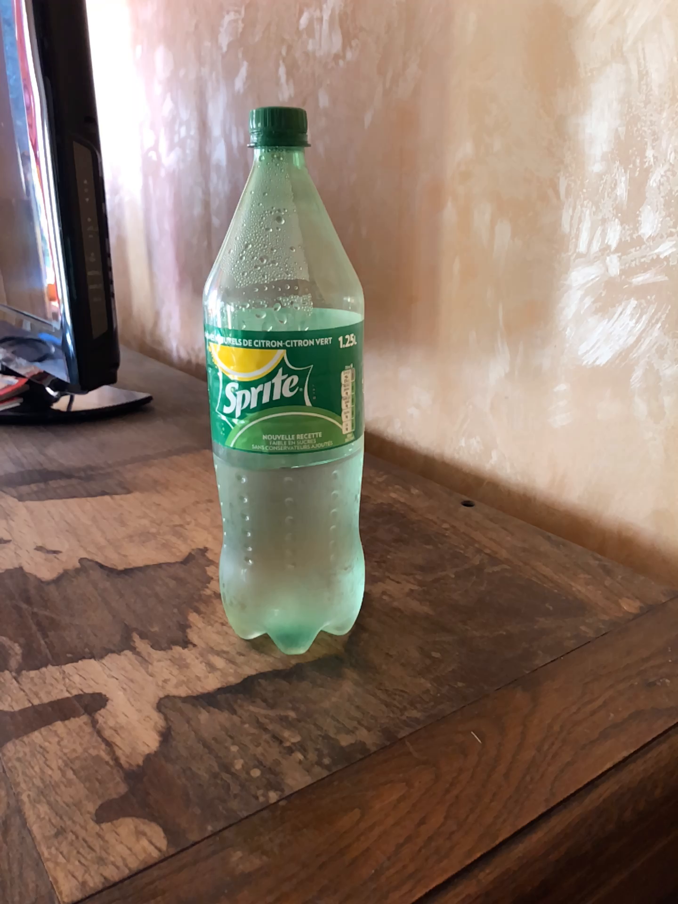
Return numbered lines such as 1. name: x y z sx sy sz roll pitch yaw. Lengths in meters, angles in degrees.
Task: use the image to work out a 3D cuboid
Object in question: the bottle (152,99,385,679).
1. bottle: -0.029 -0.030 0.399 0.090 0.279 0.090 0 19 0
